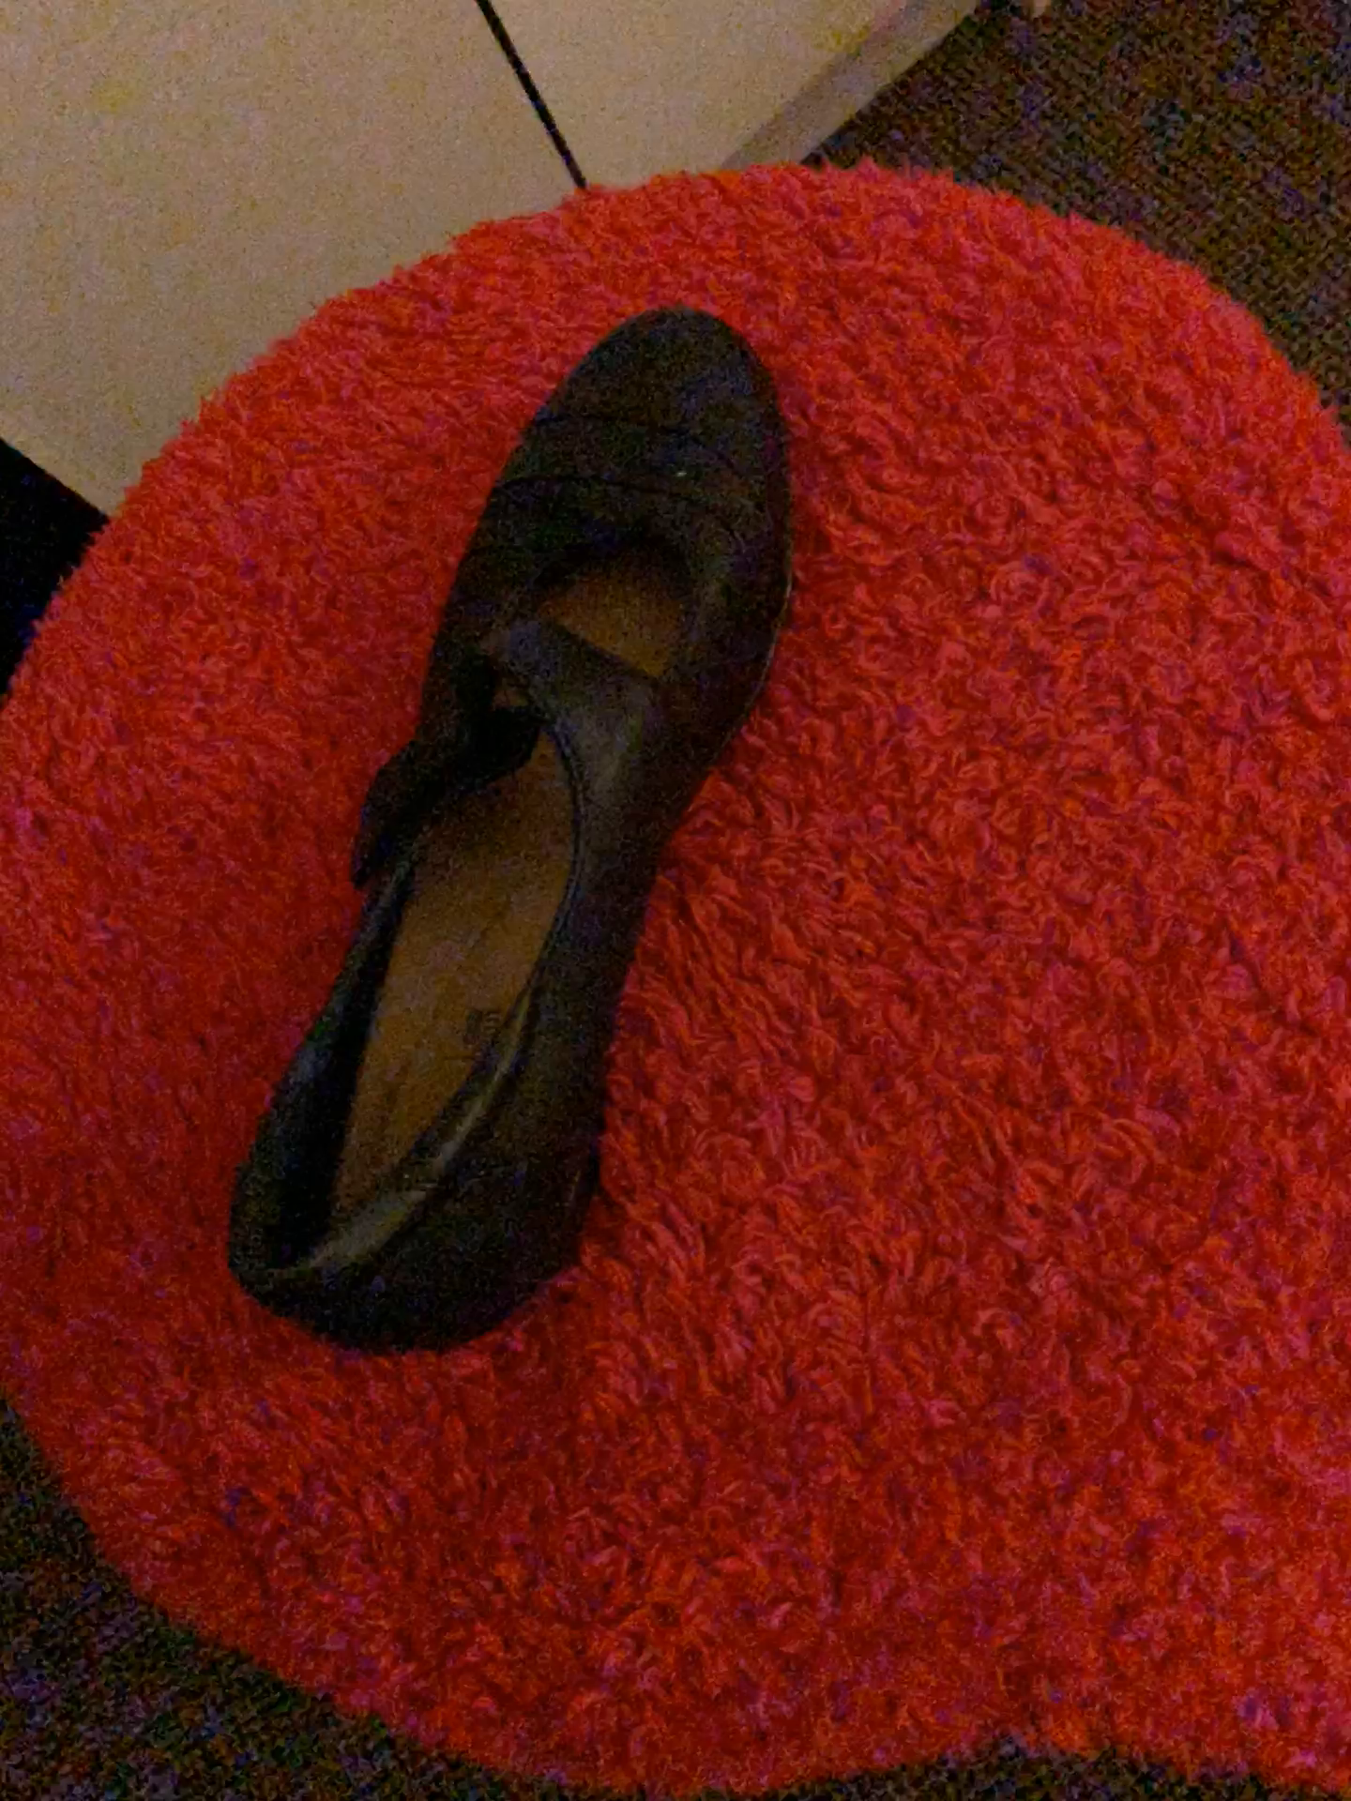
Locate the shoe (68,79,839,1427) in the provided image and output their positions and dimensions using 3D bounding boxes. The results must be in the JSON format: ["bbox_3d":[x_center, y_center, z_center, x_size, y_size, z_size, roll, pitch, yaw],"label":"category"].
[{"bbox_3d":[-0.037,-0.036,0.317,0.093,0.080,0.275,4,75,22],"label":"shoe"}]
